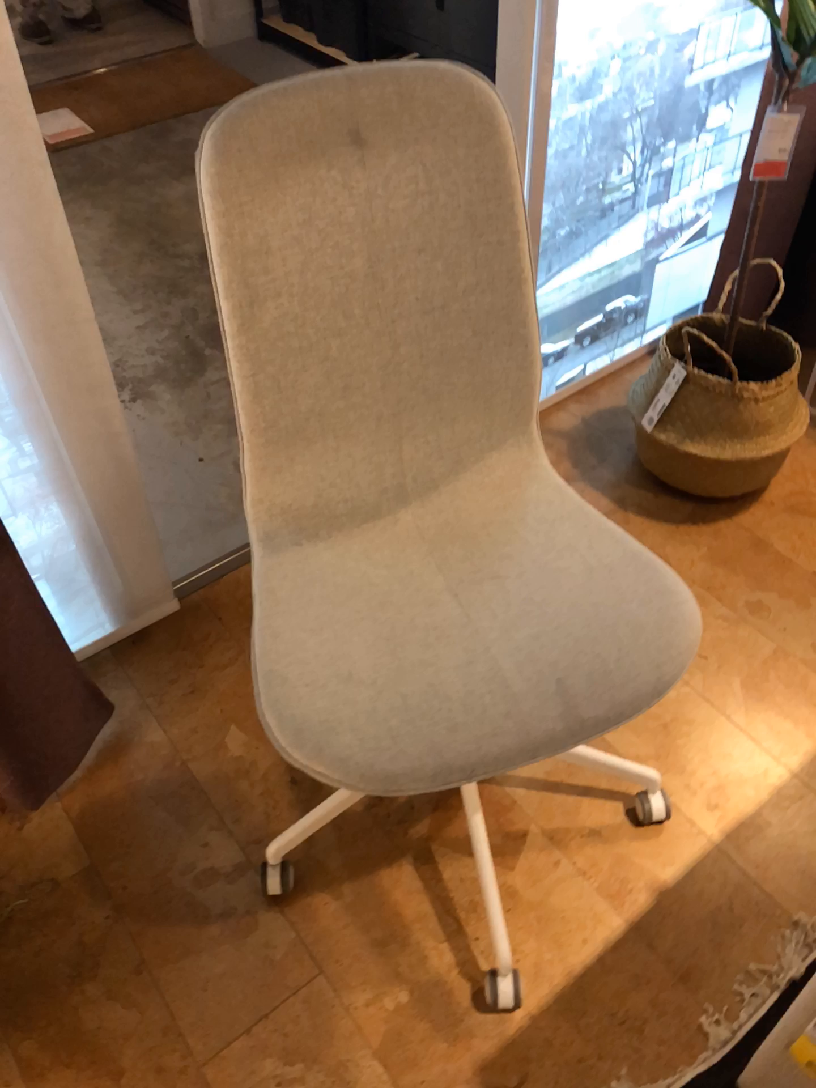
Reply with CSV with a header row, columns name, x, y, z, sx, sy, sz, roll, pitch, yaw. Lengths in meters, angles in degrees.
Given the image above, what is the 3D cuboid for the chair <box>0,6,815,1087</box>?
name,x,y,z,sx,sy,sz,roll,pitch,yaw
chair,0.029,0.040,1.055,0.670,0.937,0.692,-20,49,-16
